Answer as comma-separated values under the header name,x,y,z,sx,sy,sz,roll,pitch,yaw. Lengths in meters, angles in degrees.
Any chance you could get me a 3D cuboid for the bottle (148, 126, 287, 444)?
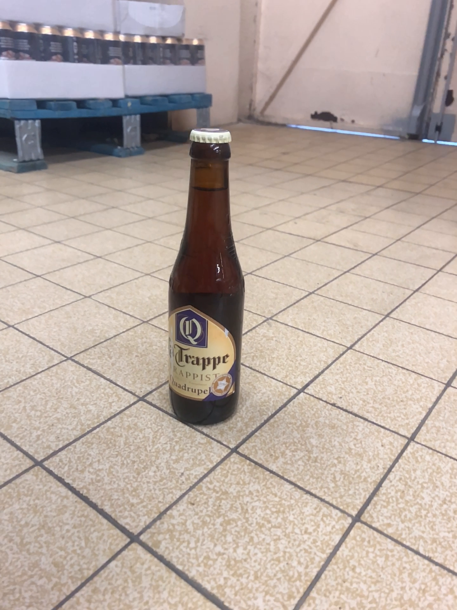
name,x,y,z,sx,sy,sz,roll,pitch,yaw
bottle,-0.009,-0.014,0.380,0.070,0.219,0.070,2,24,-1
